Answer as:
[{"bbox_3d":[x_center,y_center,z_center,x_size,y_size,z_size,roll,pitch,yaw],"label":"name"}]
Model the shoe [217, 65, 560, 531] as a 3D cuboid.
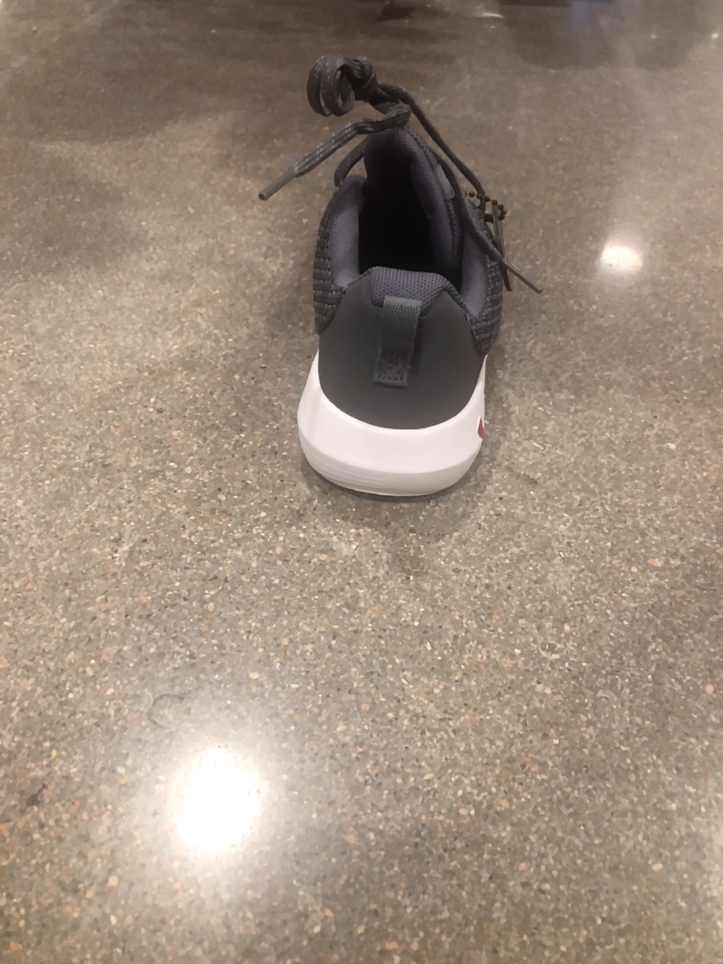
[{"bbox_3d":[0.020,-0.110,0.393,0.116,0.084,0.266,7,45,1],"label":"shoe"}]
